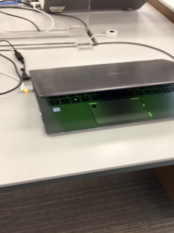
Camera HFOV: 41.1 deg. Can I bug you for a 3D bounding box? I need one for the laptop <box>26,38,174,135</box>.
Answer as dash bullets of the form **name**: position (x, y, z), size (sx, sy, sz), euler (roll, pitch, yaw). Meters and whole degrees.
- **laptop**: position (0.073, -0.077, 0.488), size (0.355, 0.075, 0.186), euler (-8, 50, -13)
